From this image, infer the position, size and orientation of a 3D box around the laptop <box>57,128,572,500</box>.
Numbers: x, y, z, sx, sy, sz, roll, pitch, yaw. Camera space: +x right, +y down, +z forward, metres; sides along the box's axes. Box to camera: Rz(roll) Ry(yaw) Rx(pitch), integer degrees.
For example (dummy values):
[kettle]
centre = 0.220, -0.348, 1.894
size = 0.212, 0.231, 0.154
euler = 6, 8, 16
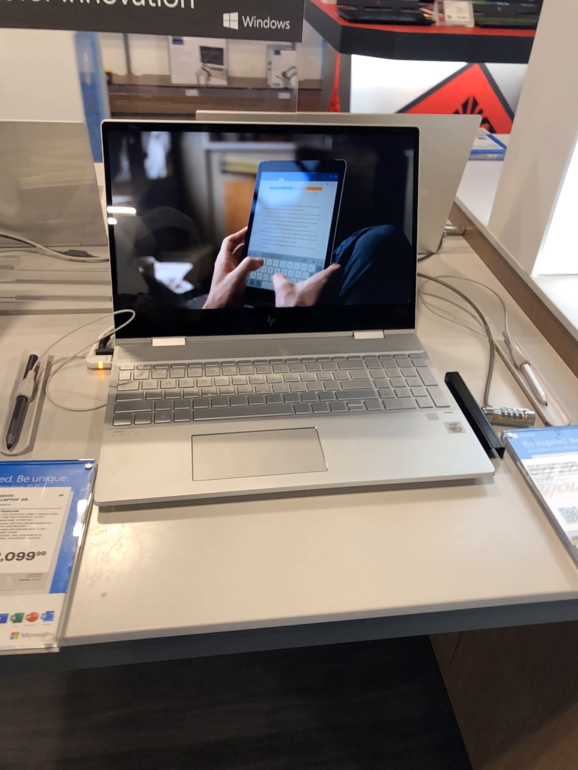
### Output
[laptop]
centre = -0.002, -0.101, 0.638
size = 0.358, 0.210, 0.355
euler = -3, 37, -8
